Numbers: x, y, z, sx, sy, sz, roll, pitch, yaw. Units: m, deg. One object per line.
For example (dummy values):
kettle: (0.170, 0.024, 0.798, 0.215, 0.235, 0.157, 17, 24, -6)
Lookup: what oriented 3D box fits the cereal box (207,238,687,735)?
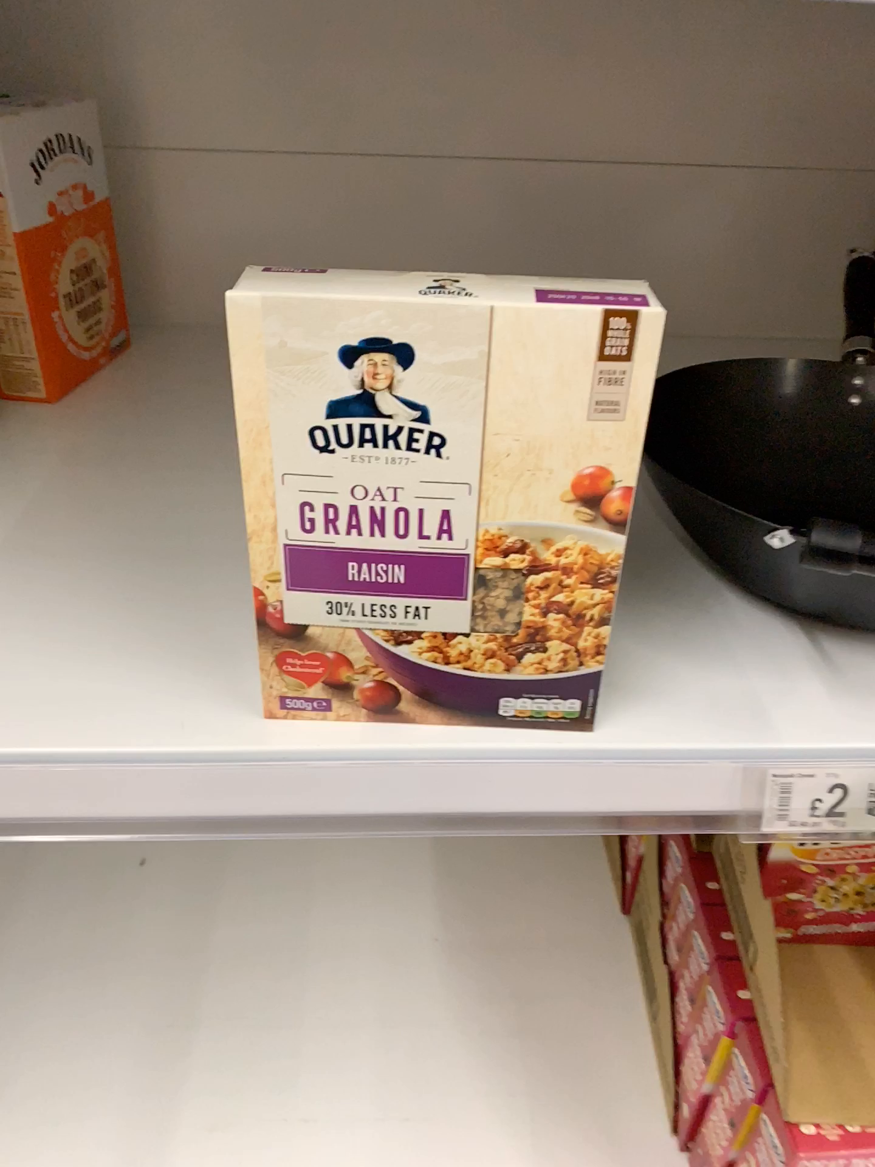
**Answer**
cereal box: (0.000, -0.038, 0.466, 0.200, 0.248, 0.061, 2, 33, -1)
